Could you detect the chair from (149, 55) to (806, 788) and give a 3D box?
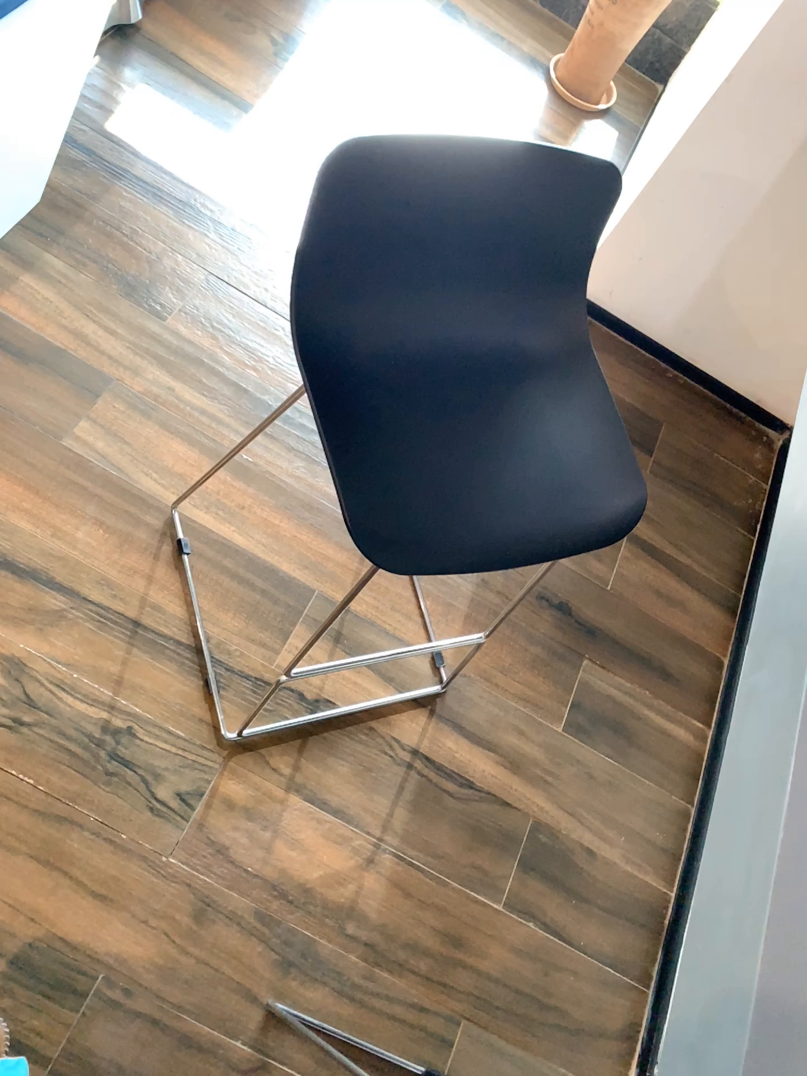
[{"bbox_3d":[-0.013,-0.072,1.197,0.542,0.865,0.592,-9,69,-24],"label":"chair"}]
